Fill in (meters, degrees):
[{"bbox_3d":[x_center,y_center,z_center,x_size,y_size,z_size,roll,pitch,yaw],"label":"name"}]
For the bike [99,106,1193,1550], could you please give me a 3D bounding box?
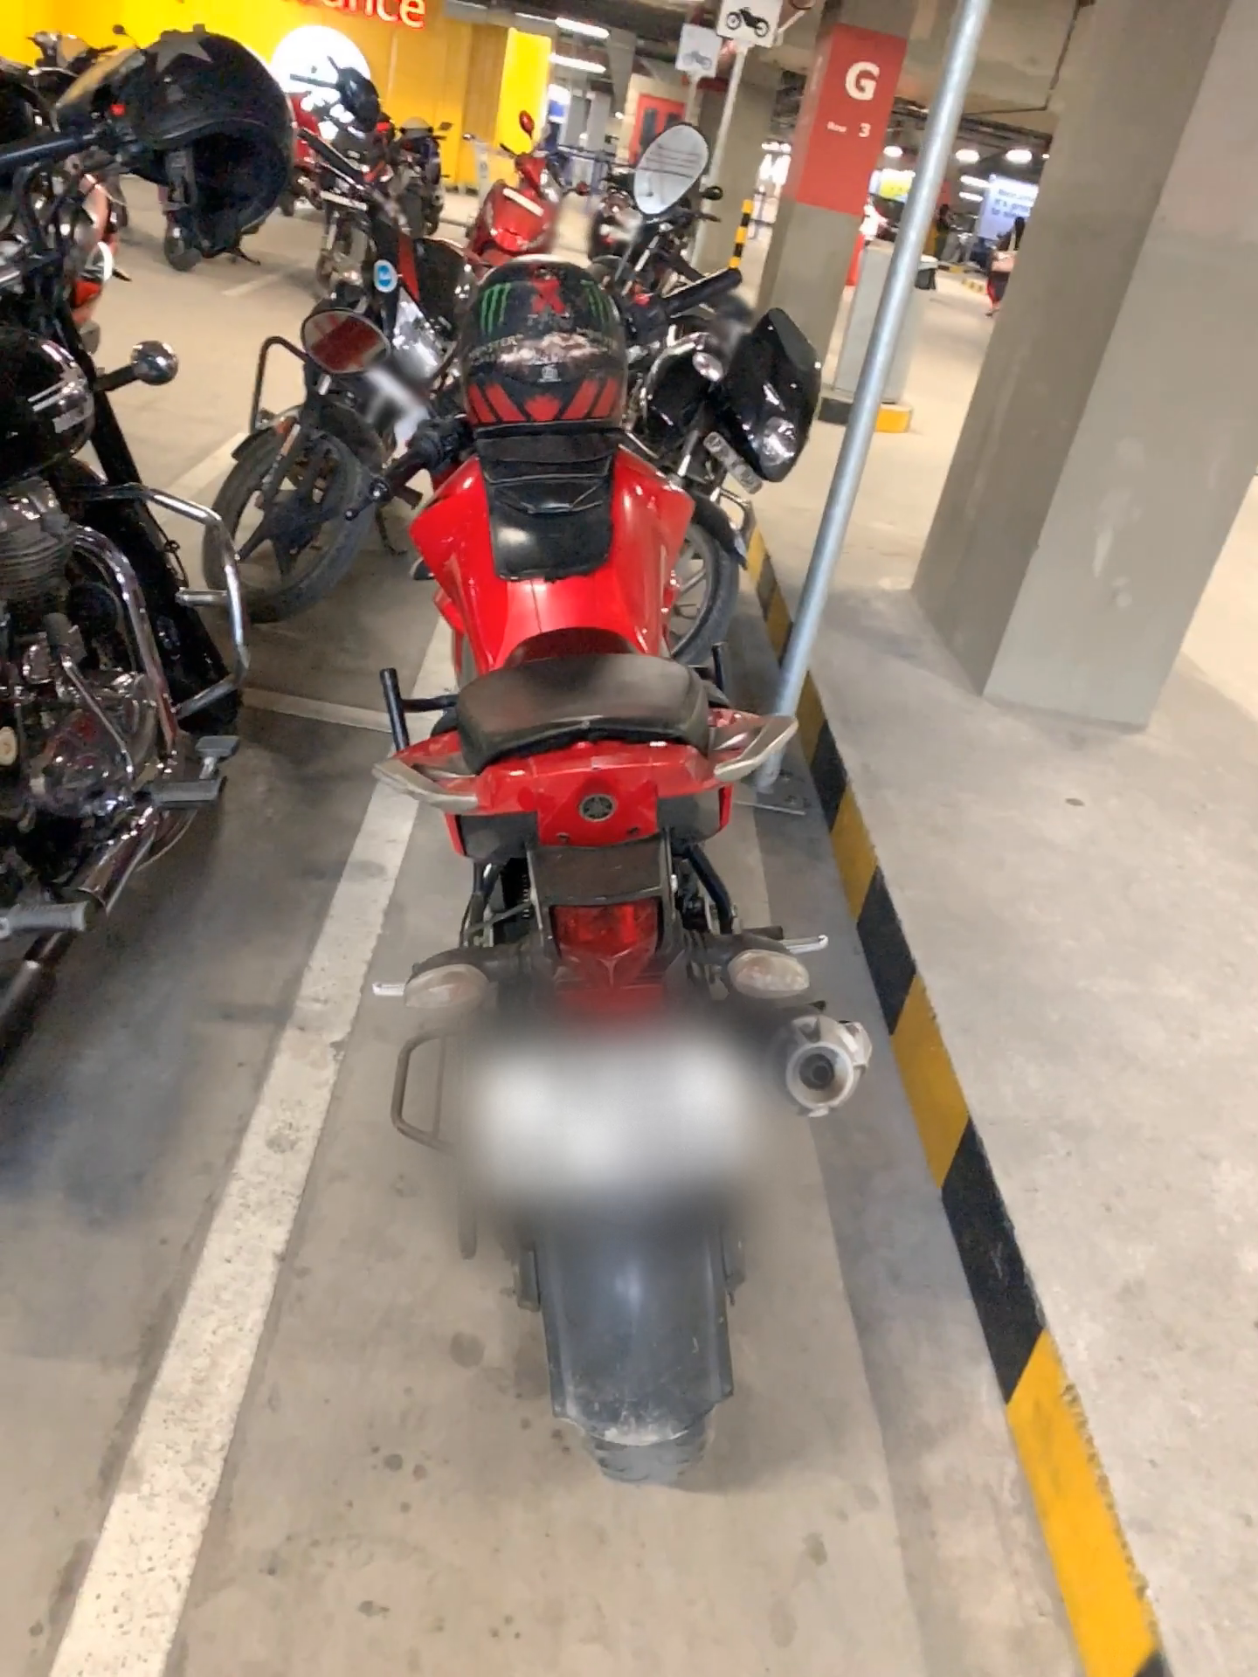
[{"bbox_3d":[-0.270,-0.222,1.730,0.677,1.122,1.690,4,30,-17],"label":"bike"}]
